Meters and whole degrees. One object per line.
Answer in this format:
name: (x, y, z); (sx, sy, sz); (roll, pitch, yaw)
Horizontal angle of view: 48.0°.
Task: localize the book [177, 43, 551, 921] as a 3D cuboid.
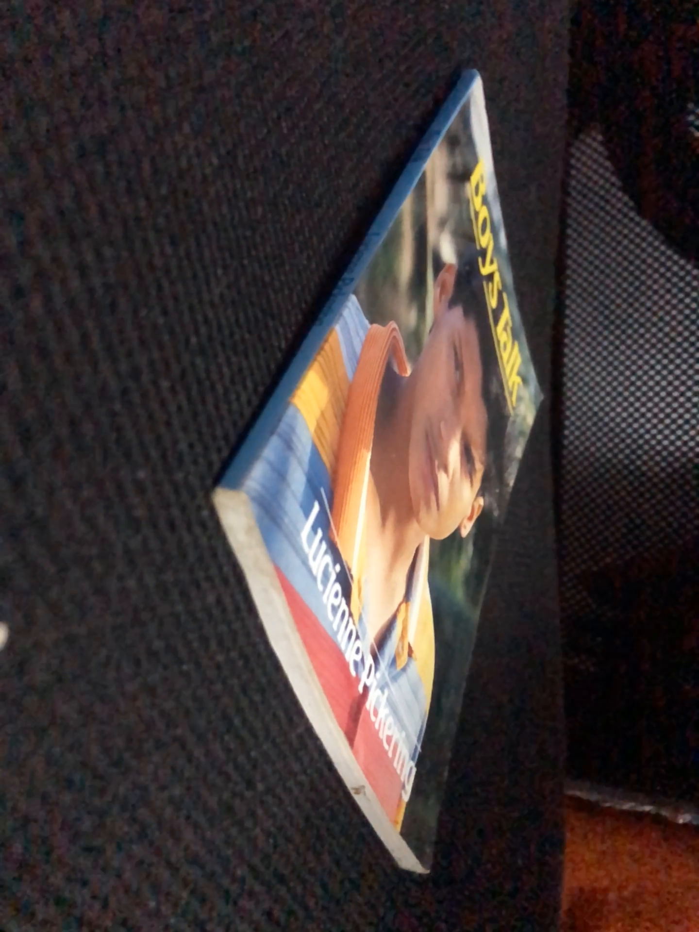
book: (0.028, -0.010, 0.202); (0.191, 0.010, 0.131); (-66, 147, -43)
